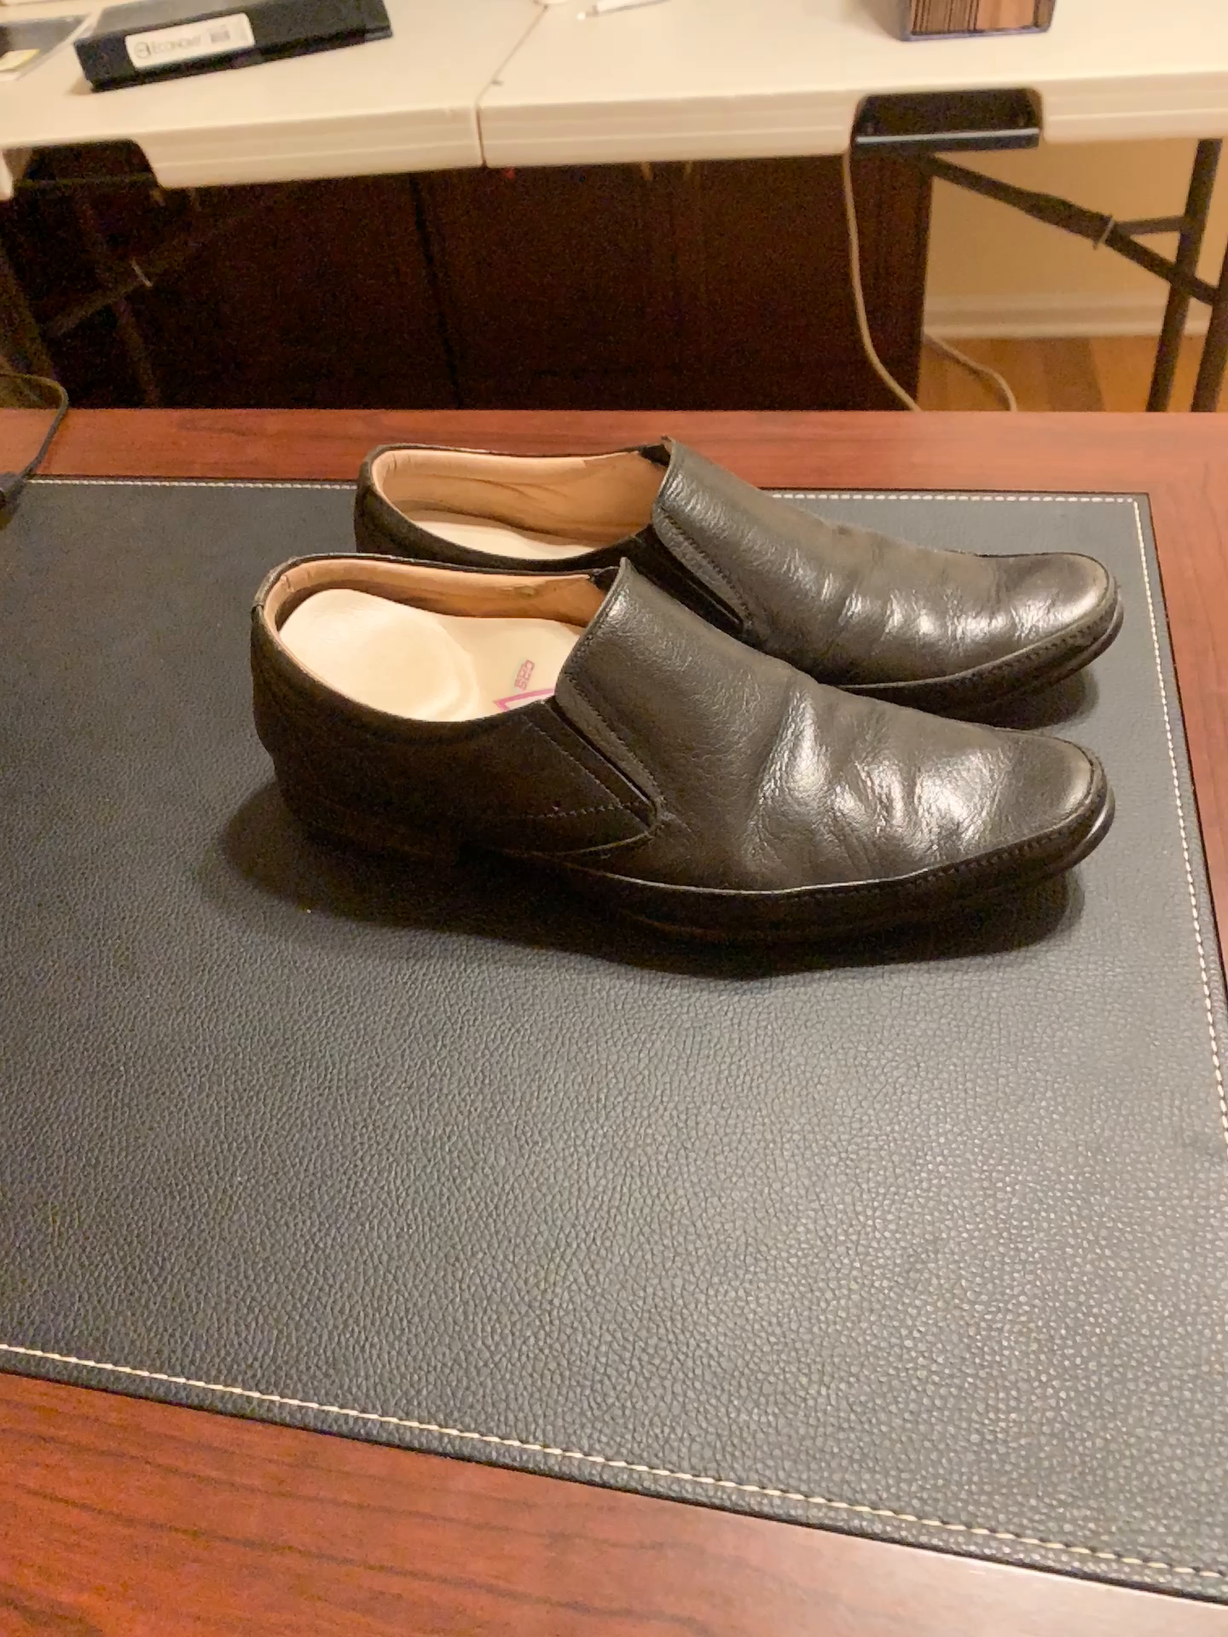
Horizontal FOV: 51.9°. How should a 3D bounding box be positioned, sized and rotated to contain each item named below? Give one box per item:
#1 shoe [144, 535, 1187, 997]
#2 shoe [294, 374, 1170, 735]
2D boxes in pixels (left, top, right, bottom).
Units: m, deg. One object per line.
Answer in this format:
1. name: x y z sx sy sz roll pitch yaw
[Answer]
1. shoe: 0.016 -0.024 0.403 0.284 0.077 0.111 4 47 12
2. shoe: 0.042 -0.103 0.471 0.284 0.077 0.106 4 47 12
